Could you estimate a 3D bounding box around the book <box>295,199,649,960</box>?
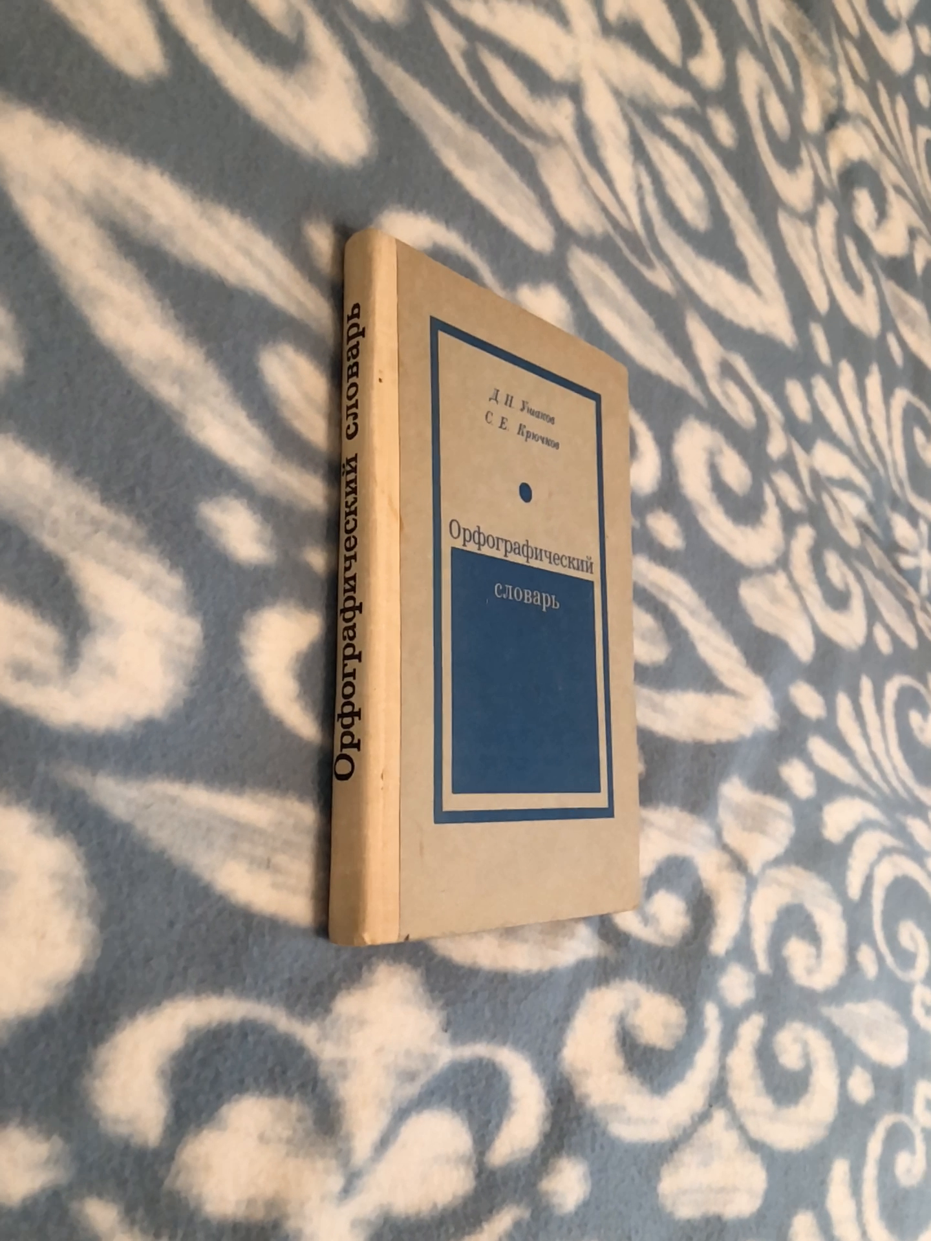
[{"bbox_3d":[0.009,-0.008,0.335,0.137,0.022,0.210,11,74,-46],"label":"book"}]
